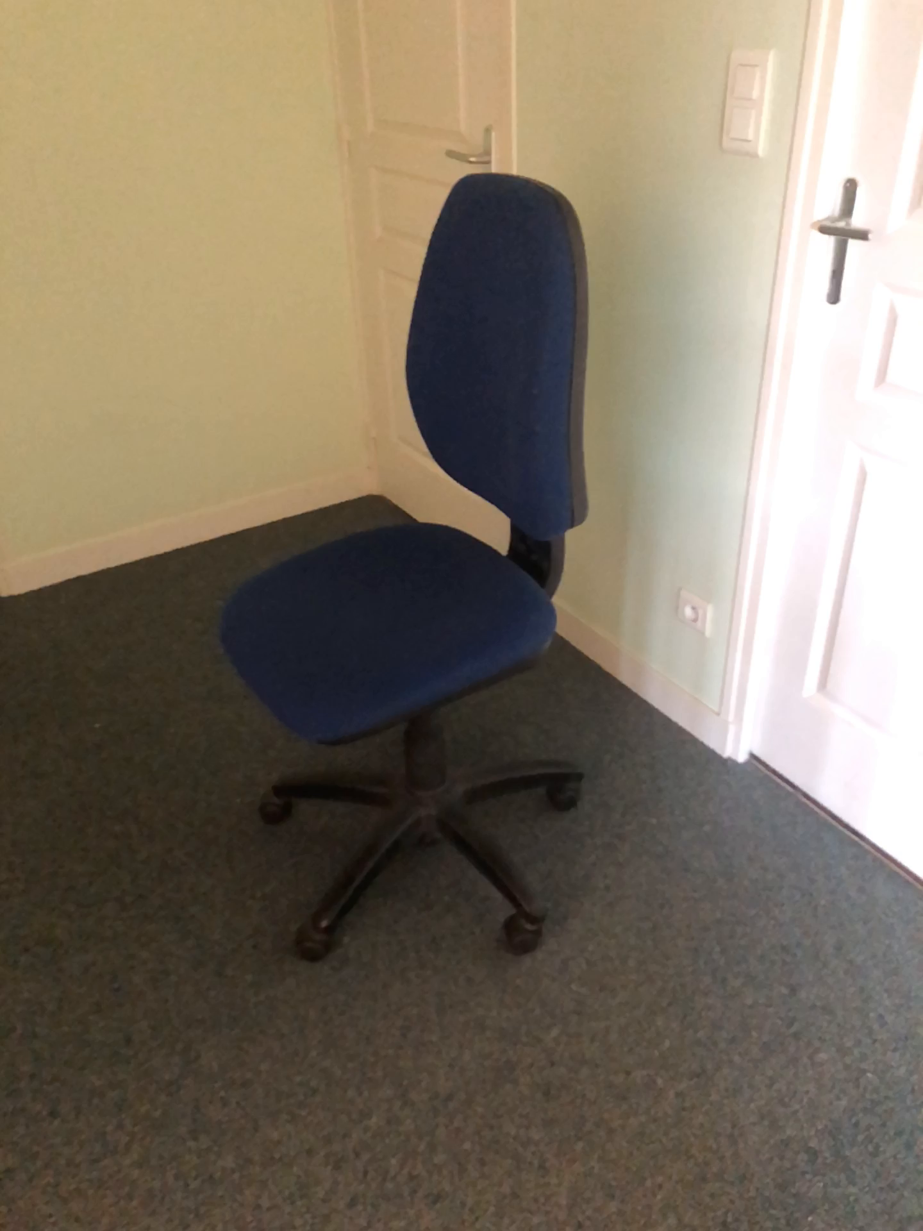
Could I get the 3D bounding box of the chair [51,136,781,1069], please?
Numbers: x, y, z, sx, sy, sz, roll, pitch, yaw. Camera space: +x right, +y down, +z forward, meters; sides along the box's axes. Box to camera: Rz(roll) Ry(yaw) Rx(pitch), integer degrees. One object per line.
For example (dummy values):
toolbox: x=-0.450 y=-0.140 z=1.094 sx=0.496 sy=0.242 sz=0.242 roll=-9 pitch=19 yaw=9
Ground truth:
chair: x=-0.080 y=-0.075 z=1.561 sx=0.673 sy=1.113 sz=0.702 roll=-19 pitch=35 yaw=-26
